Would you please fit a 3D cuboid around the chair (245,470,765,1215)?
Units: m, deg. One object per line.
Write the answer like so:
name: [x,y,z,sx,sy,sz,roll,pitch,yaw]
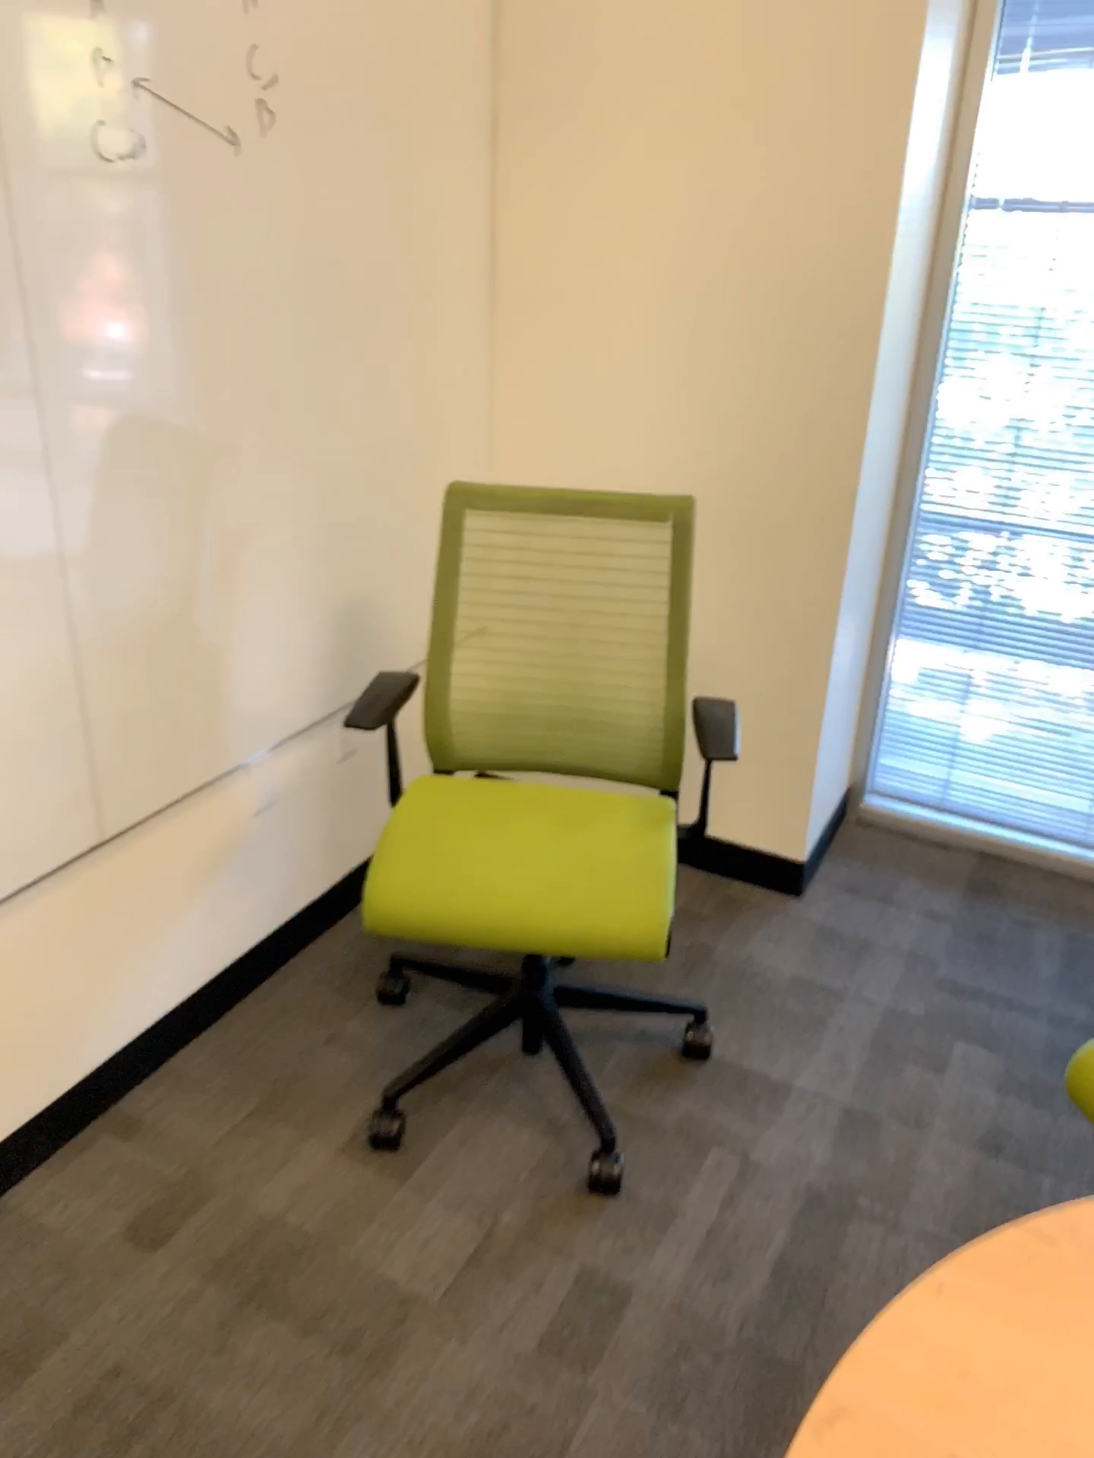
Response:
chair: [-0.012,0.135,2.085,0.700,0.995,0.844,6,25,8]
